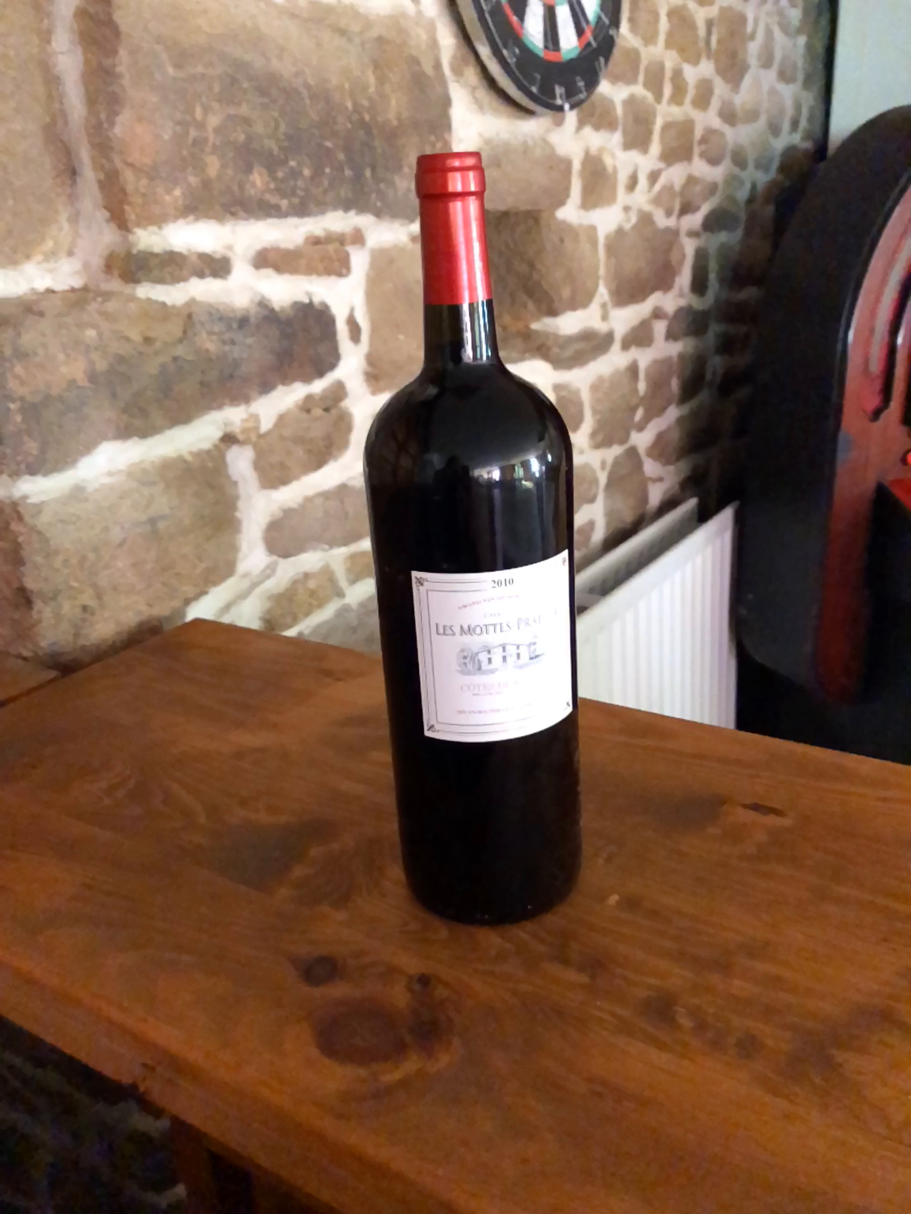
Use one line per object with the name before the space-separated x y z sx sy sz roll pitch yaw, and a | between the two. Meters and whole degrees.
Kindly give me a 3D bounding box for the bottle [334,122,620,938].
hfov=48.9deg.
bottle | 0.013 -0.028 0.470 0.100 0.348 0.100 -3 20 1
